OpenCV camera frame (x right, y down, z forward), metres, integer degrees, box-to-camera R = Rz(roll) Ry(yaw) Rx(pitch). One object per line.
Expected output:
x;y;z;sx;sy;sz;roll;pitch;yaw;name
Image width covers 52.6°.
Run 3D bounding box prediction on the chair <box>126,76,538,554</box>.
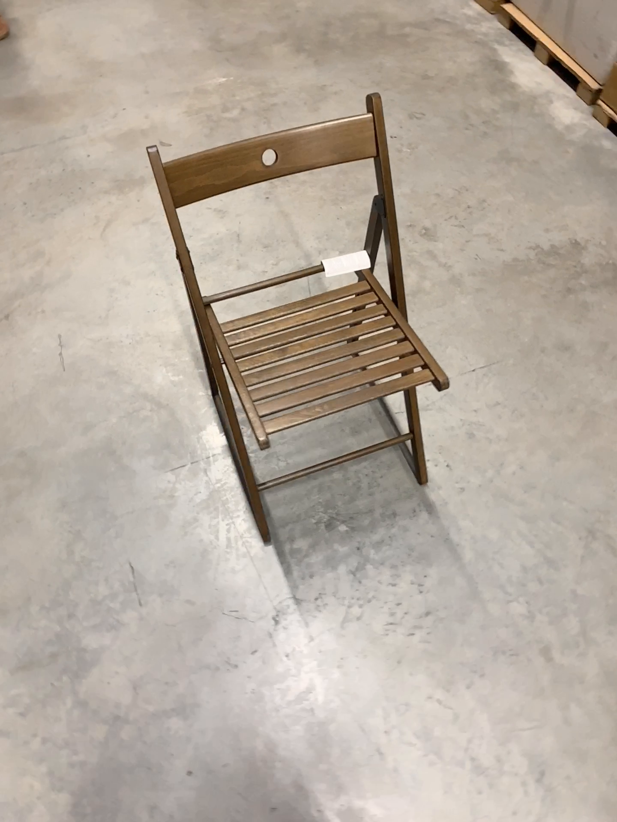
0.014;-0.148;1.249;0.480;0.698;0.501;-18;58;-10;chair
